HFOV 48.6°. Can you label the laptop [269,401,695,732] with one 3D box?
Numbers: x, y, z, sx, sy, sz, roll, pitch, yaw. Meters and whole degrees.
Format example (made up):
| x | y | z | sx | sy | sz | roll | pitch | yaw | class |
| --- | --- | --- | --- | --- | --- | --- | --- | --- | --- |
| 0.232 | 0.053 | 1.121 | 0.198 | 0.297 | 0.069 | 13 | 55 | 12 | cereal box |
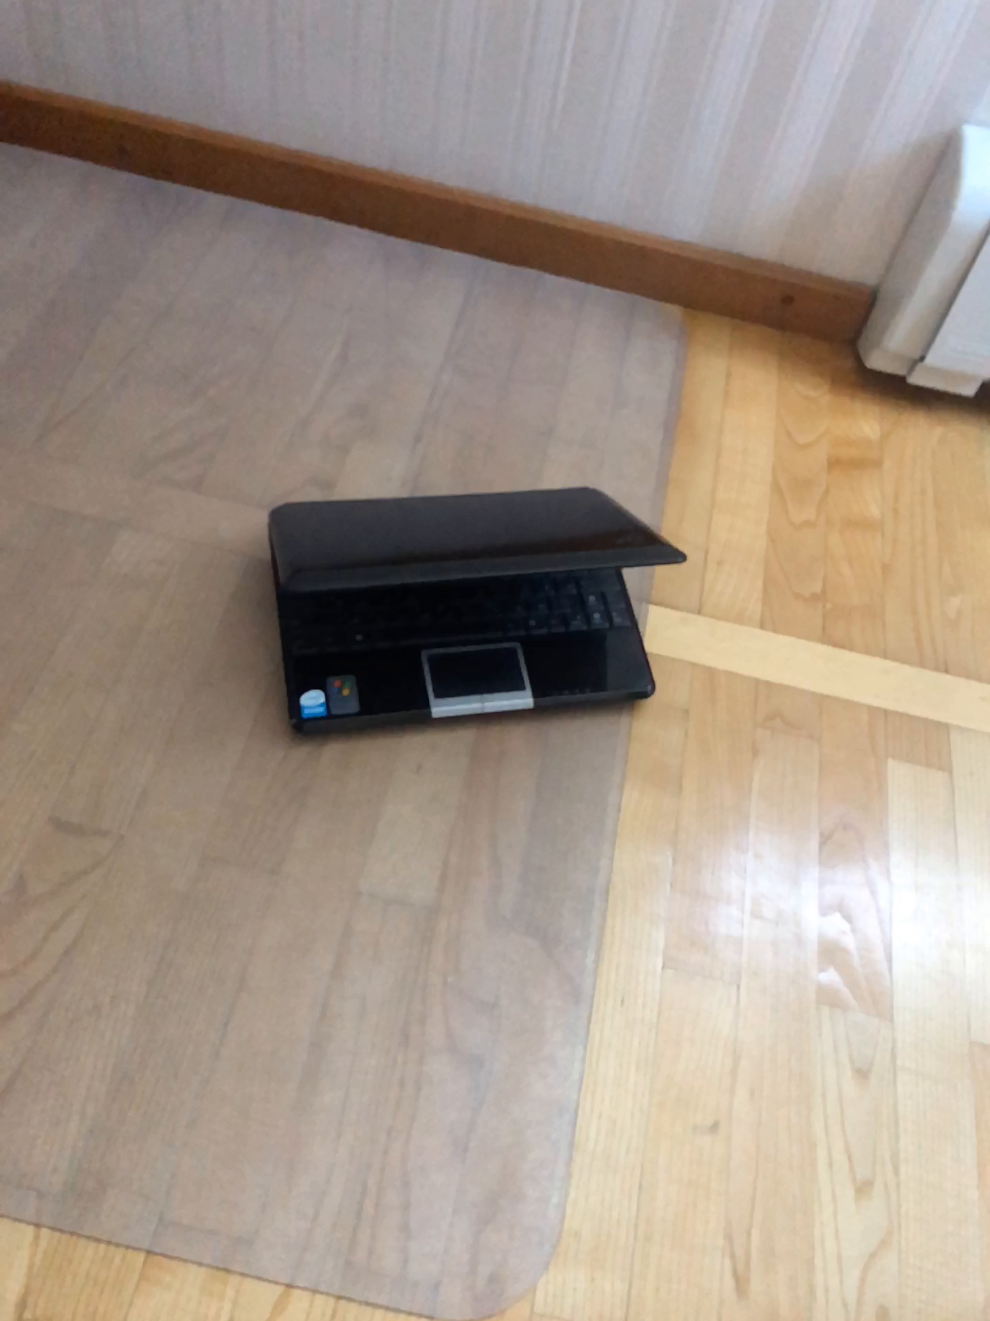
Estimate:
| x | y | z | sx | sy | sz | roll | pitch | yaw | class |
| --- | --- | --- | --- | --- | --- | --- | --- | --- | --- |
| -0.018 | -0.073 | 0.780 | 0.263 | 0.102 | 0.183 | -5 | 60 | -14 | laptop |
